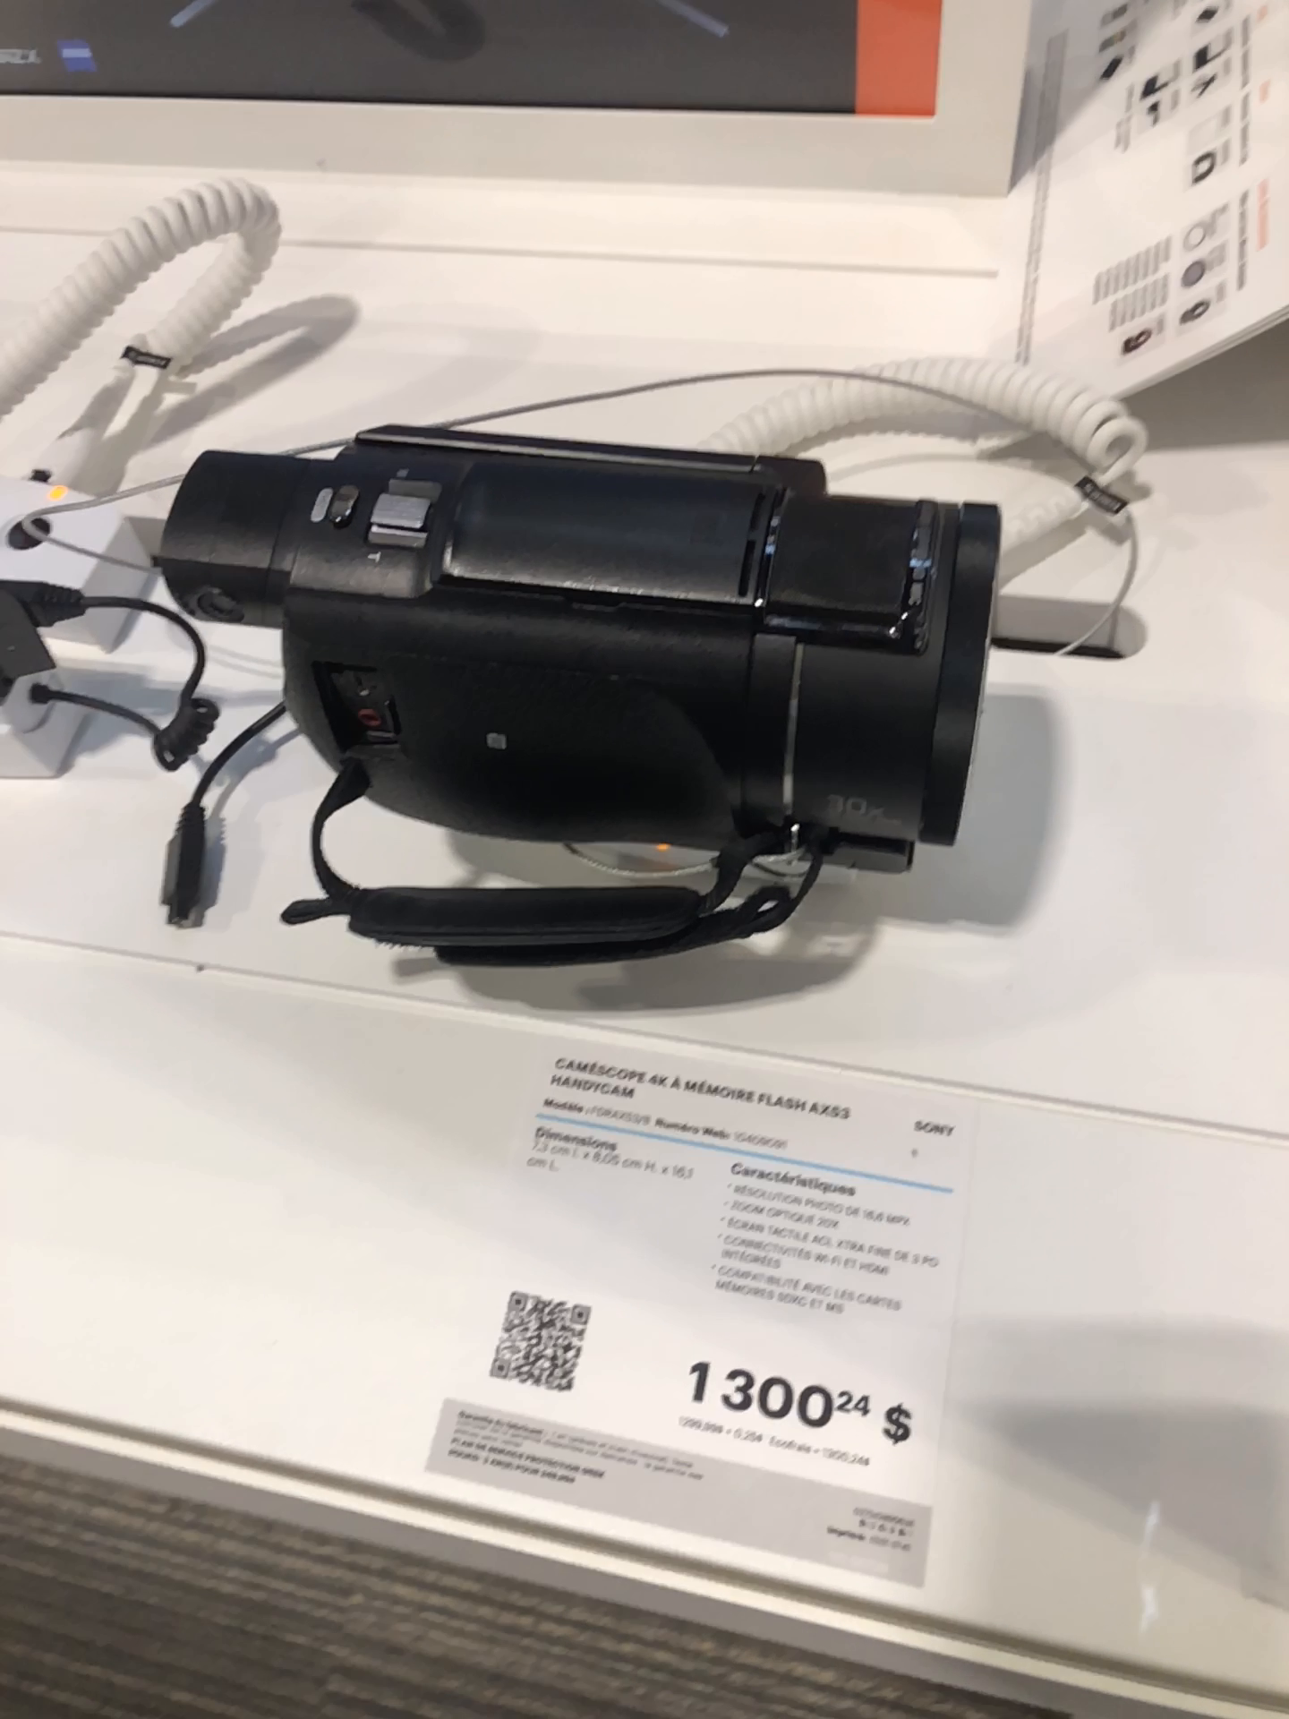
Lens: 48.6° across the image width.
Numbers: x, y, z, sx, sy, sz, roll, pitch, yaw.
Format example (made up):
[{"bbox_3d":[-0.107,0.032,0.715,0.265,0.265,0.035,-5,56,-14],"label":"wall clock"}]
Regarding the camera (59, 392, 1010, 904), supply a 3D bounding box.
[{"bbox_3d":[-0.017,-0.044,0.291,0.168,0.066,0.061,7,59,12],"label":"camera"}]
